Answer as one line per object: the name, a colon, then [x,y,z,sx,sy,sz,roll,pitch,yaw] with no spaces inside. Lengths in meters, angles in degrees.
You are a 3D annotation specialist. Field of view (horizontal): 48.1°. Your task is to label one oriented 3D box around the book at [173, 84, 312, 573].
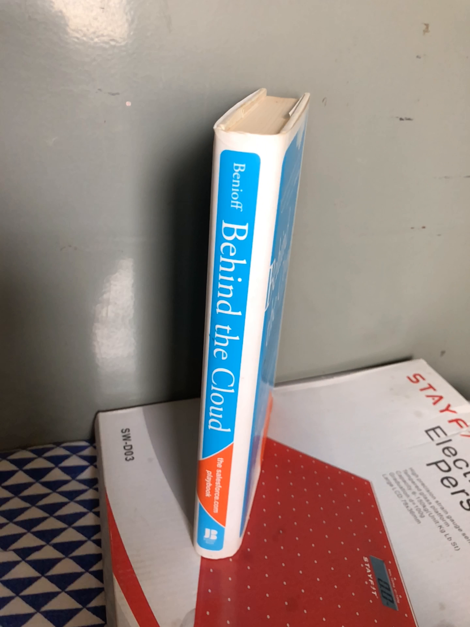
book: [0.010,-0.007,0.326,0.040,0.239,0.191,7,26,9]
